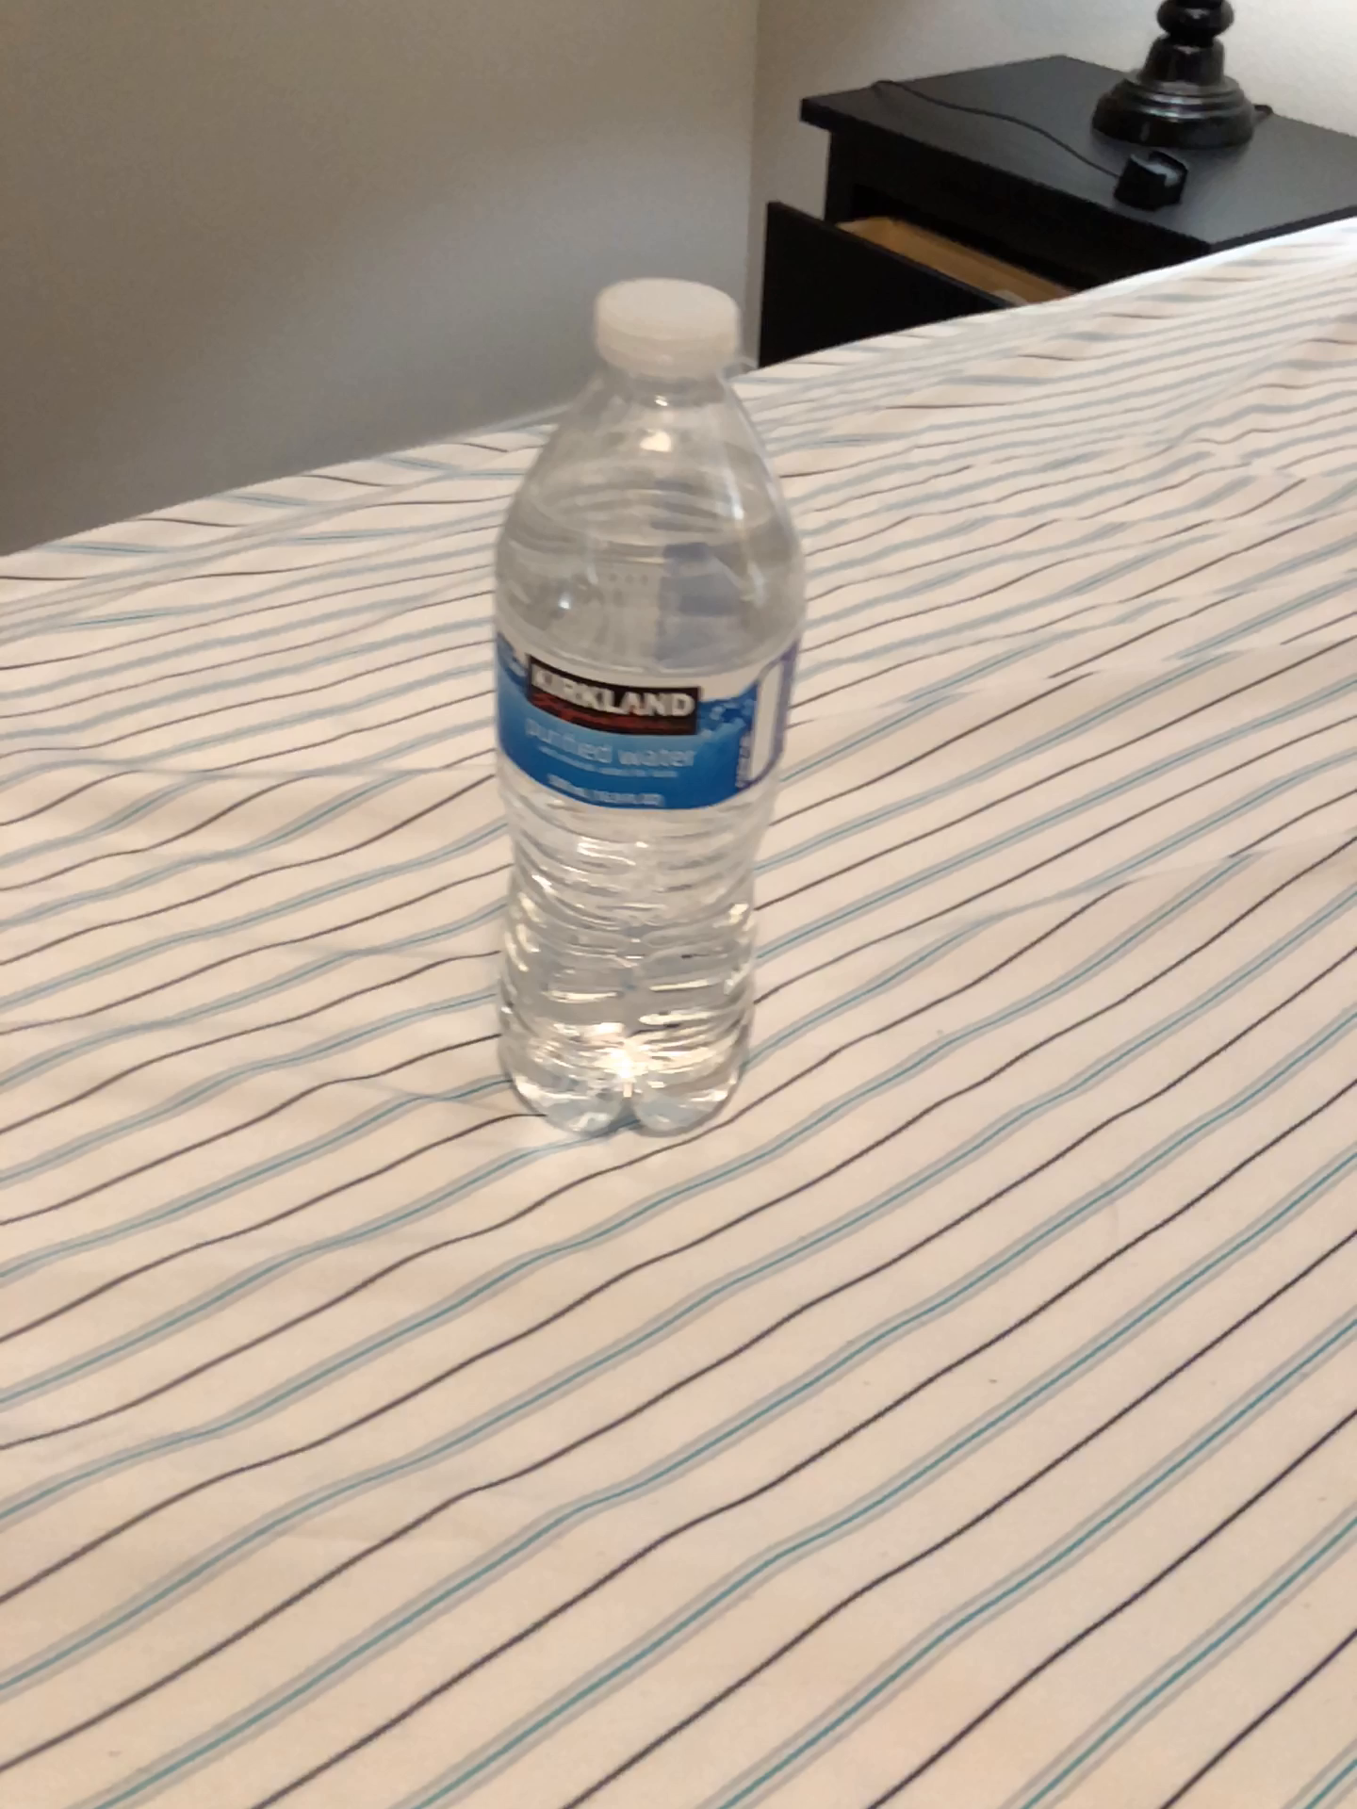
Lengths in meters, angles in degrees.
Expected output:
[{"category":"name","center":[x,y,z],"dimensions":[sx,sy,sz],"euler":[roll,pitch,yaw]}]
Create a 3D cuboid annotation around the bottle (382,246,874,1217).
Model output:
[{"category":"bottle","center":[-0.008,-0.028,0.336],"dimensions":[0.070,0.199,0.070],"euler":[1,40,-1]}]
